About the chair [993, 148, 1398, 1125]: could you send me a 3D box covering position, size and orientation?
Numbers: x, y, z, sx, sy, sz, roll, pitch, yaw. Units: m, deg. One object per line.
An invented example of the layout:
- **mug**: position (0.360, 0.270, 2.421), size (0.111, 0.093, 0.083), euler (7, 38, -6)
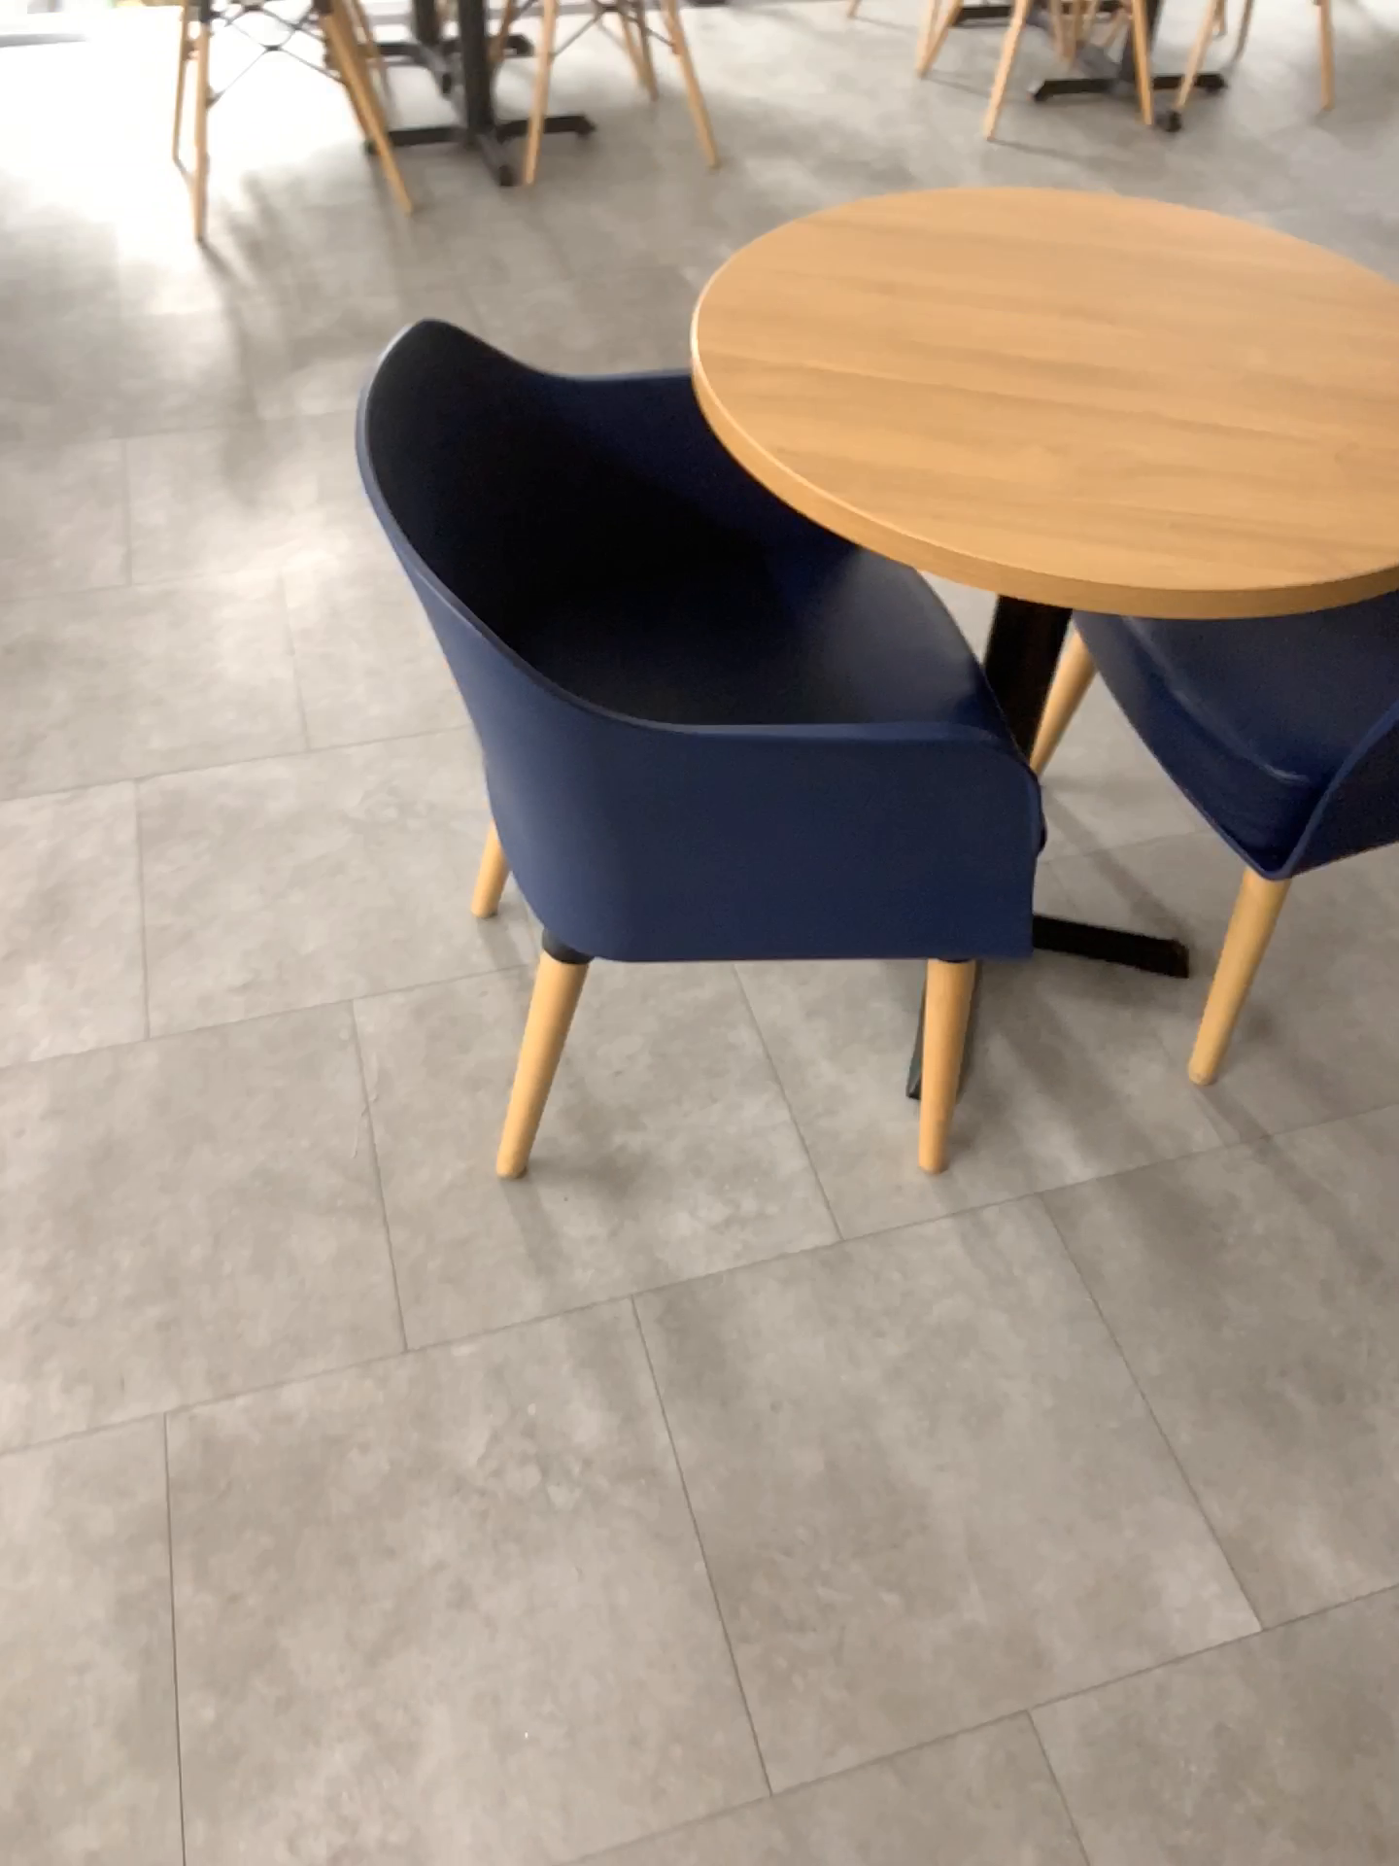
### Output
- **chair**: position (0.743, -0.298, 1.490), size (0.557, 0.735, 0.566), euler (-11, 49, -12)

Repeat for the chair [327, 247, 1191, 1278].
- **chair**: position (-0.007, -0.144, 1.350), size (0.547, 0.735, 0.567), euler (-5, 48, -7)
